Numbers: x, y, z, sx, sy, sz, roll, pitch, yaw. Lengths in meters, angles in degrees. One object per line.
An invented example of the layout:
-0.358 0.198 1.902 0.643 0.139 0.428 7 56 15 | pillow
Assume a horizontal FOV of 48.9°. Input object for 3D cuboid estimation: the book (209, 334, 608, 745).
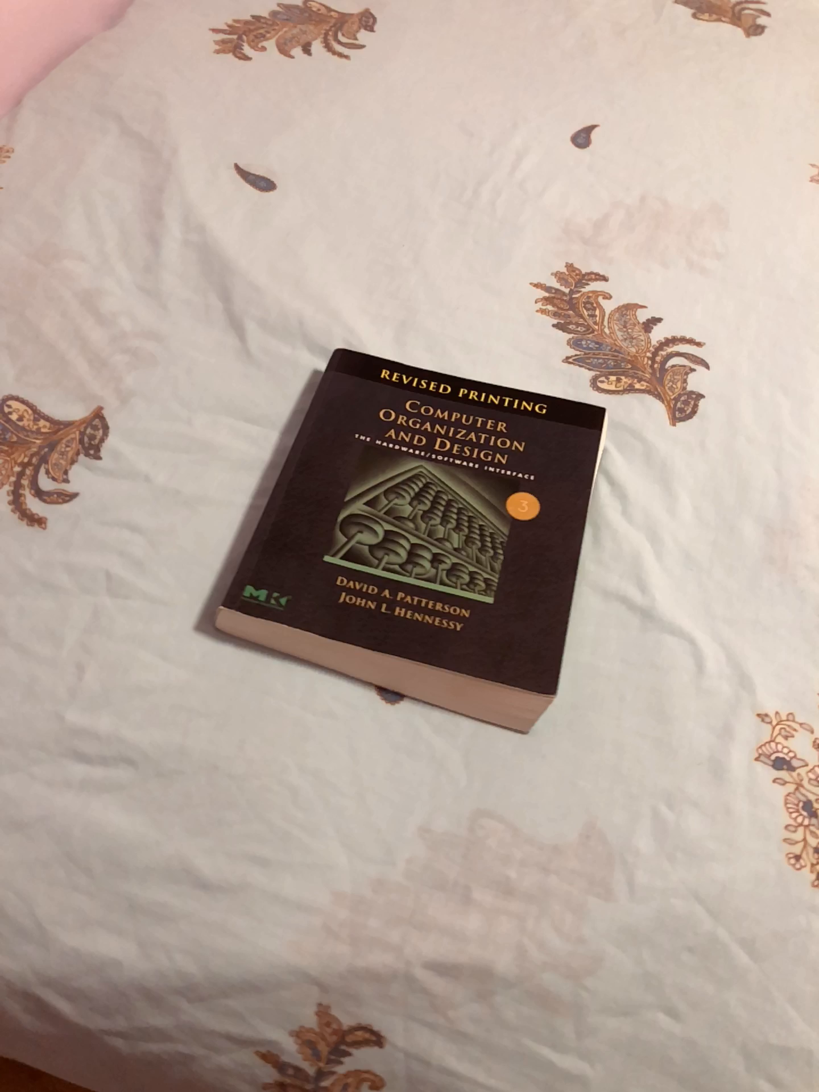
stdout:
0.008 -0.013 0.596 0.201 0.073 0.226 15 57 3 | book
